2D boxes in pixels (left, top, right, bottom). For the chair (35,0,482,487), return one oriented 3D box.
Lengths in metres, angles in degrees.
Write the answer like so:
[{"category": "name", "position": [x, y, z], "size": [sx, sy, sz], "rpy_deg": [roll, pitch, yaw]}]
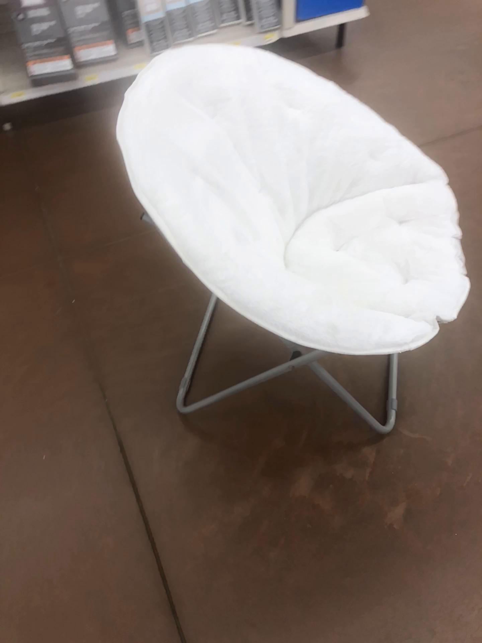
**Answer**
[{"category": "chair", "position": [0.187, -0.216, 1.136], "size": [0.750, 0.648, 0.762], "rpy_deg": [9, 51, 11]}]
